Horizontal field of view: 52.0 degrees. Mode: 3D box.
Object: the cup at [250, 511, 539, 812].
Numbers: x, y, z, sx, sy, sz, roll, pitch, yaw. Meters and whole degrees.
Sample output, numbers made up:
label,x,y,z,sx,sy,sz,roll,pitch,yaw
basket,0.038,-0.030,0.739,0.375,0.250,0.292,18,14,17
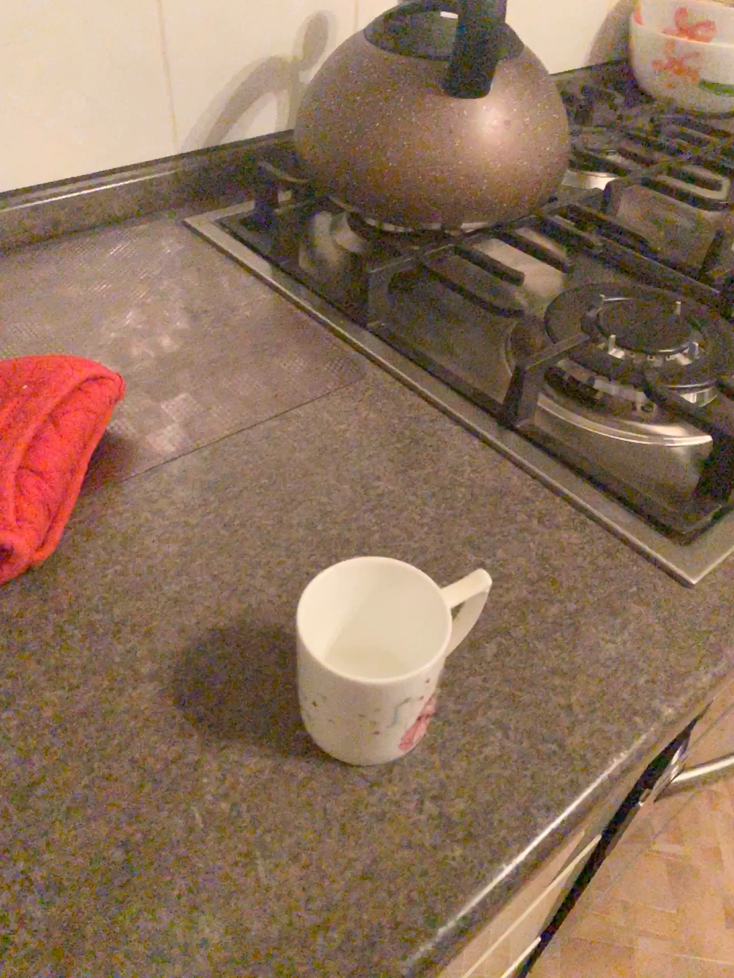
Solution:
label,x,y,z,sx,sy,sz,roll,pitch,yaw
cup,0.008,0.067,0.304,0.090,0.069,0.060,-20,47,-23
